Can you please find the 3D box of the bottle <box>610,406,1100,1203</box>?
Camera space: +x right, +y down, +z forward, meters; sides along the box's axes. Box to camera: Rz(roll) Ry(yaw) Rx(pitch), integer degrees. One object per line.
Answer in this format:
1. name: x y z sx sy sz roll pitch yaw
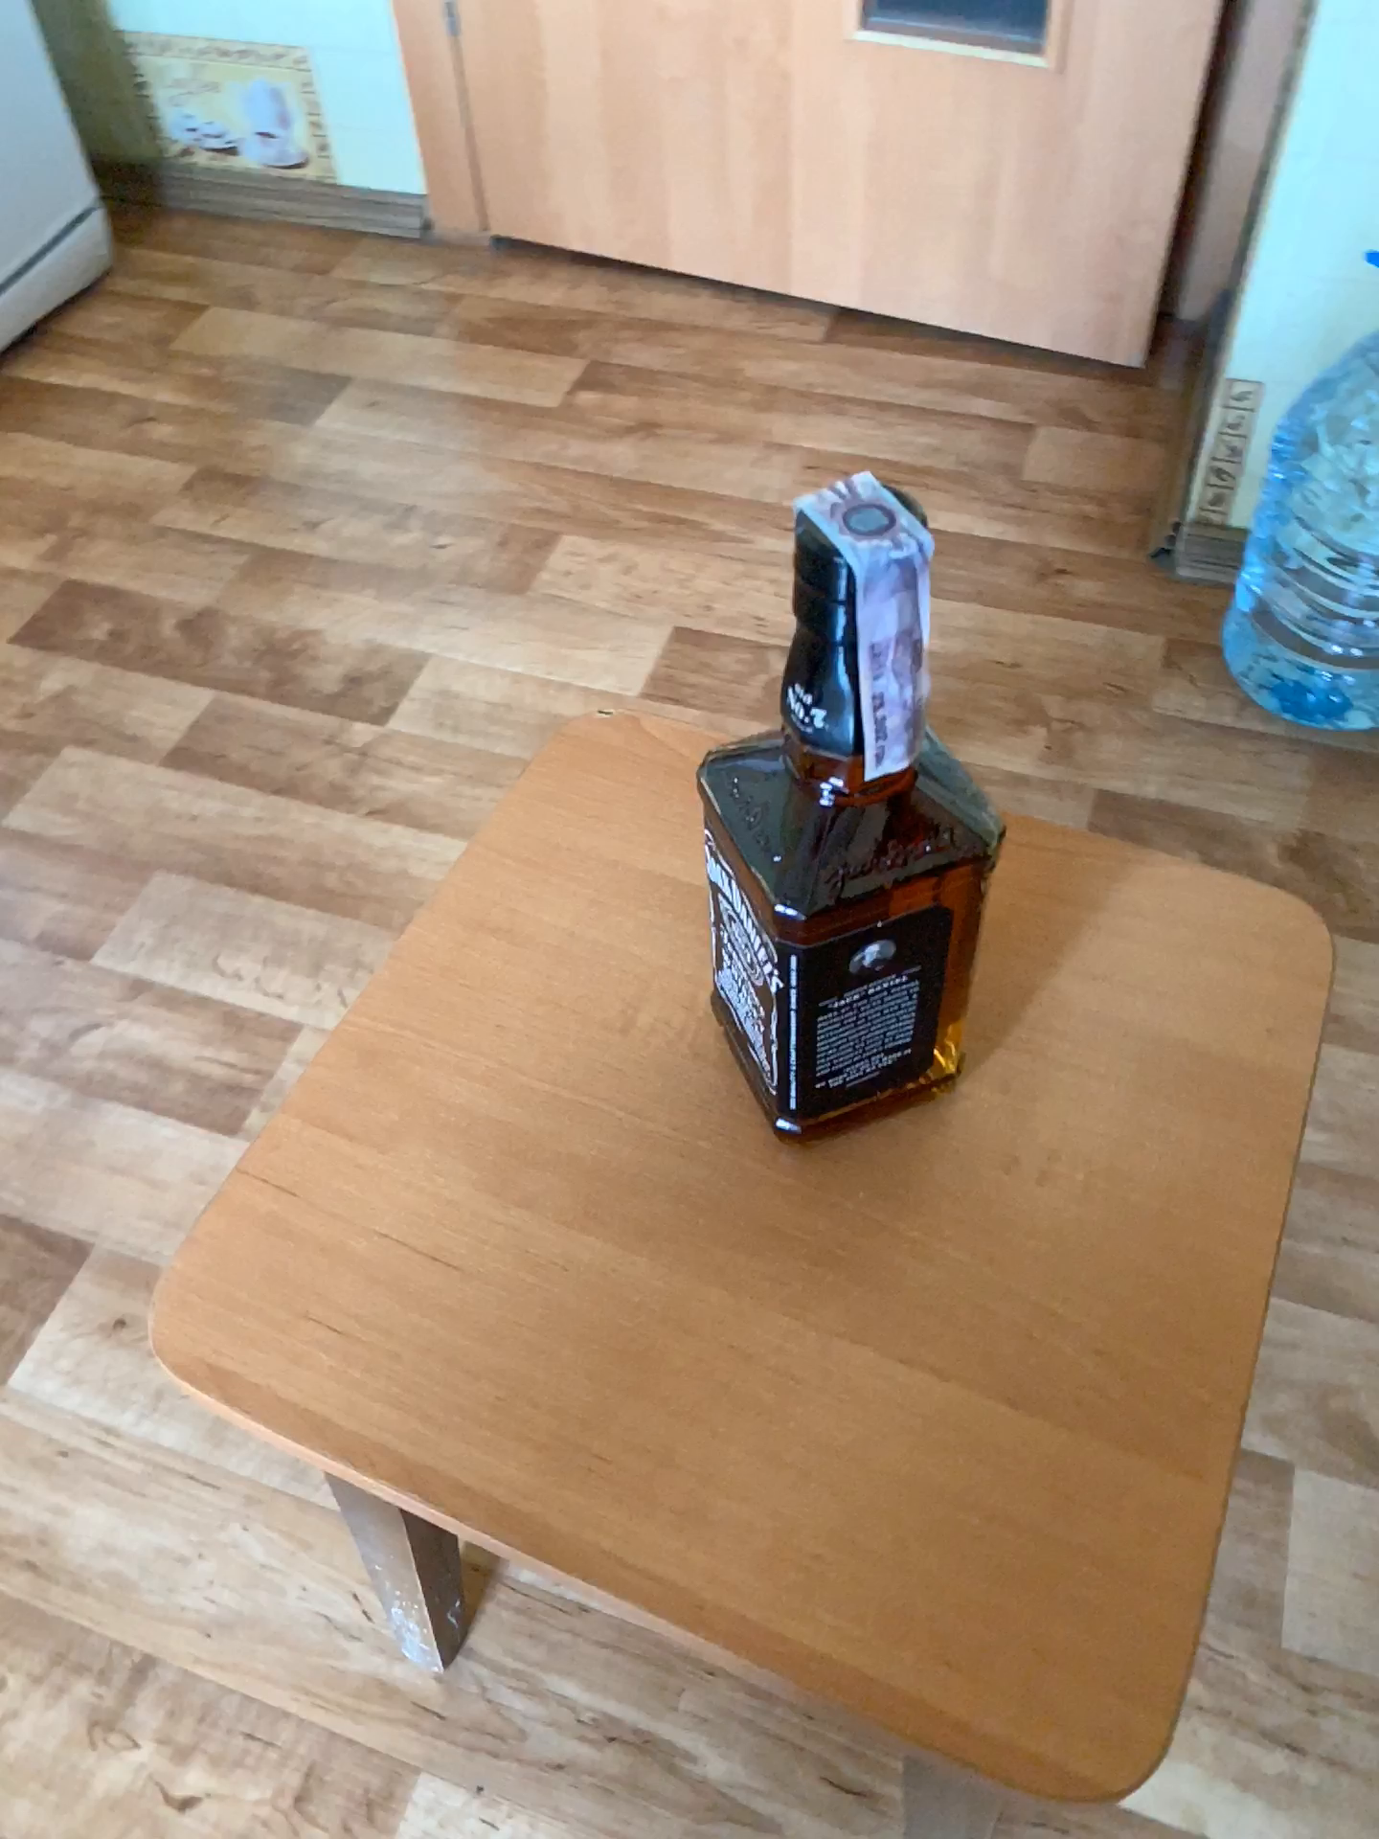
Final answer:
1. bottle: 0.038 -0.018 0.391 0.080 0.209 0.080 -2 51 2
